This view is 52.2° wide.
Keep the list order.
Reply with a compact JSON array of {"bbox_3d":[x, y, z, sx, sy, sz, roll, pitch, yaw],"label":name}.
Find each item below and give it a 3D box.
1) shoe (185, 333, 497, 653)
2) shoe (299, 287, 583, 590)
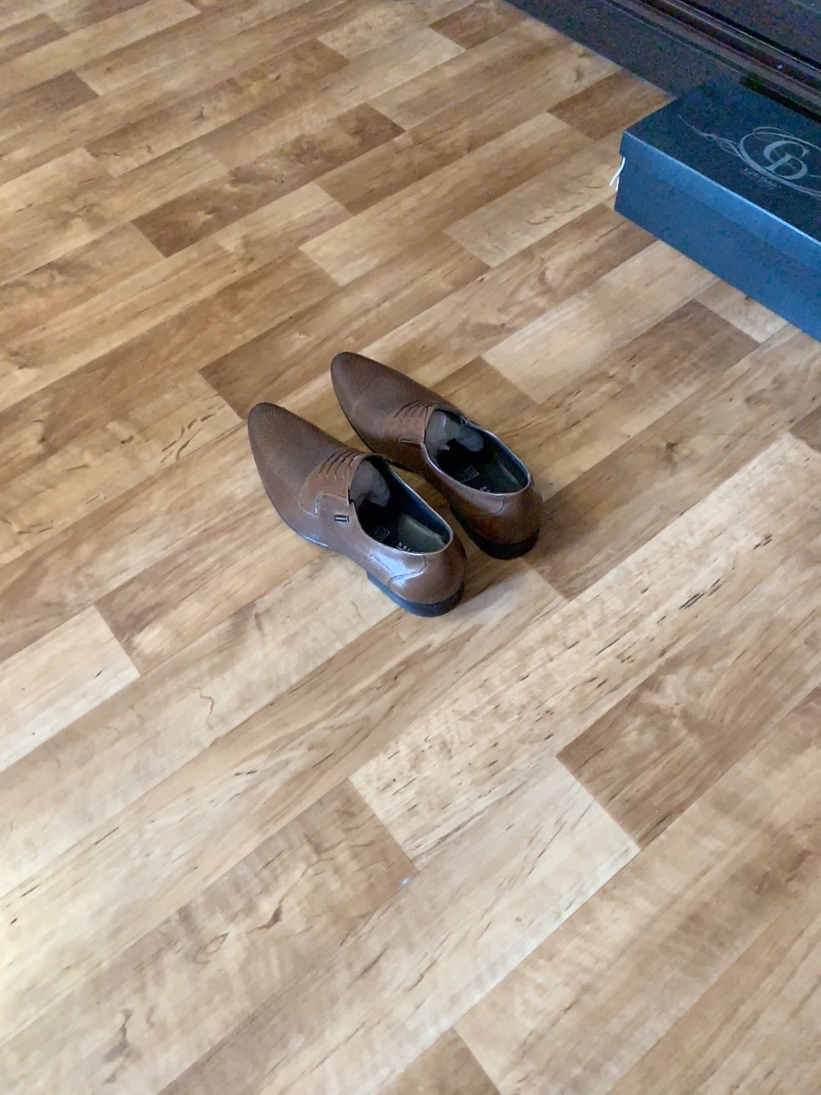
[{"bbox_3d":[-0.068,-0.059,0.793,0.110,0.100,0.311,-39,64,-18],"label":"shoe"},{"bbox_3d":[0.024,-0.115,0.843,0.100,0.120,0.301,-36,63,-16],"label":"shoe"}]
